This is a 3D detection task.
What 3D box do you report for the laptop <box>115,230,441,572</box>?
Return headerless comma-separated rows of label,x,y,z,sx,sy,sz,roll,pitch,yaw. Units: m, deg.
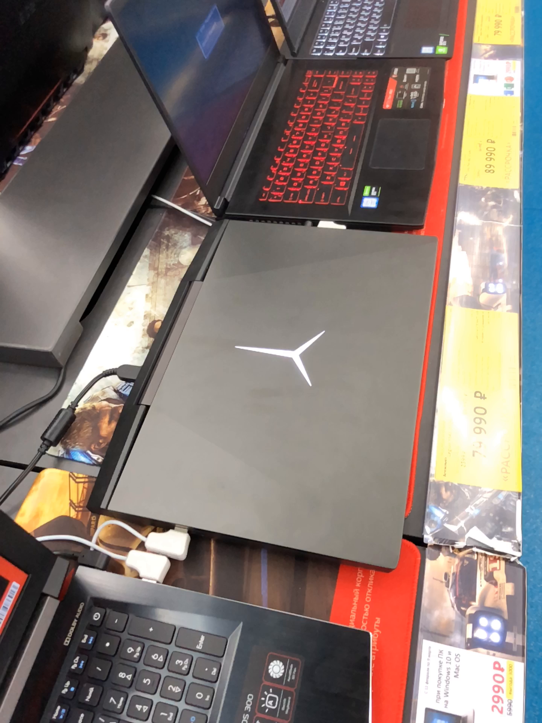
laptop,0.024,0.003,0.563,0.227,0.007,0.345,8,56,16
